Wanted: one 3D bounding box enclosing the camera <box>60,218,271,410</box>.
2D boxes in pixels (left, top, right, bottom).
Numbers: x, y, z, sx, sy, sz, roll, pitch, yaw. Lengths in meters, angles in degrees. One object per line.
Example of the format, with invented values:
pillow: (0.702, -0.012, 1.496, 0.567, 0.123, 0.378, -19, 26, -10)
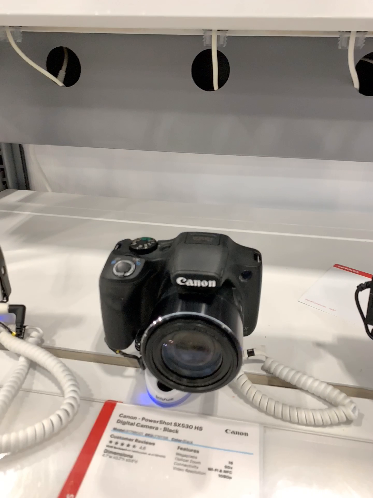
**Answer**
camera: (-0.005, 0.037, 0.273, 0.120, 0.080, 0.100, 5, 25, 9)
